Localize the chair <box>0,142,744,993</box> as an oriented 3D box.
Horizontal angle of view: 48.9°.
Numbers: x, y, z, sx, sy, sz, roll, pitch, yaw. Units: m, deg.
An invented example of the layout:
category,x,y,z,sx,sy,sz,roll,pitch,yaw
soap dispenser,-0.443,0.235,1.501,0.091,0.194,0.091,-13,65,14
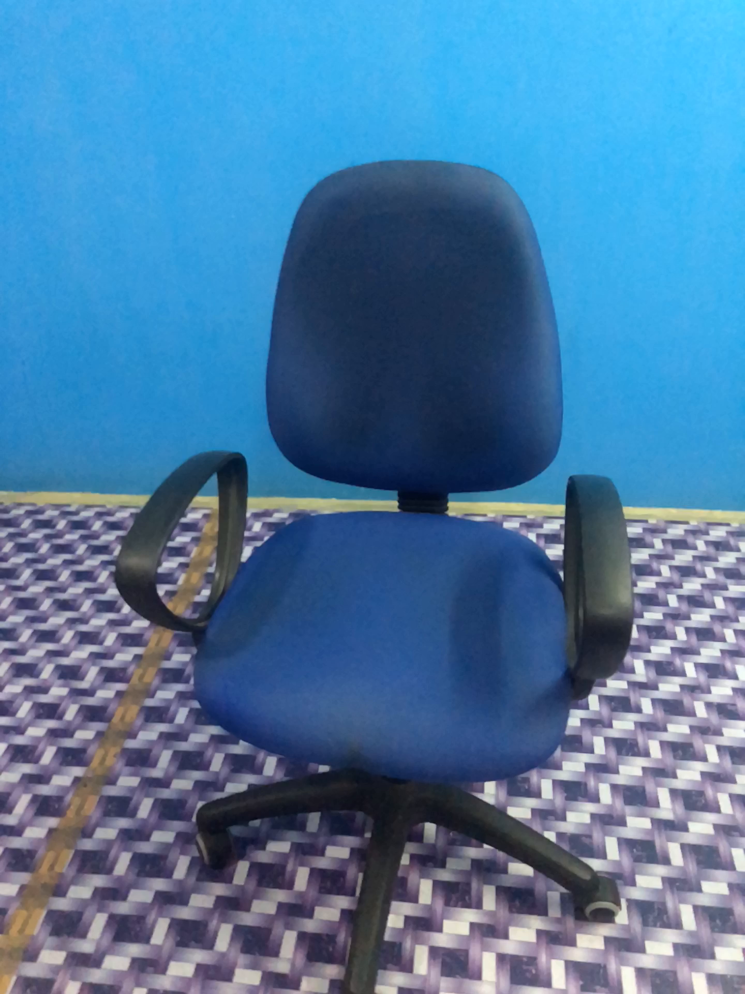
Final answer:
category,x,y,z,sx,sy,sz,roll,pitch,yaw
chair,0.050,0.120,1.025,0.700,0.915,0.694,6,34,12
